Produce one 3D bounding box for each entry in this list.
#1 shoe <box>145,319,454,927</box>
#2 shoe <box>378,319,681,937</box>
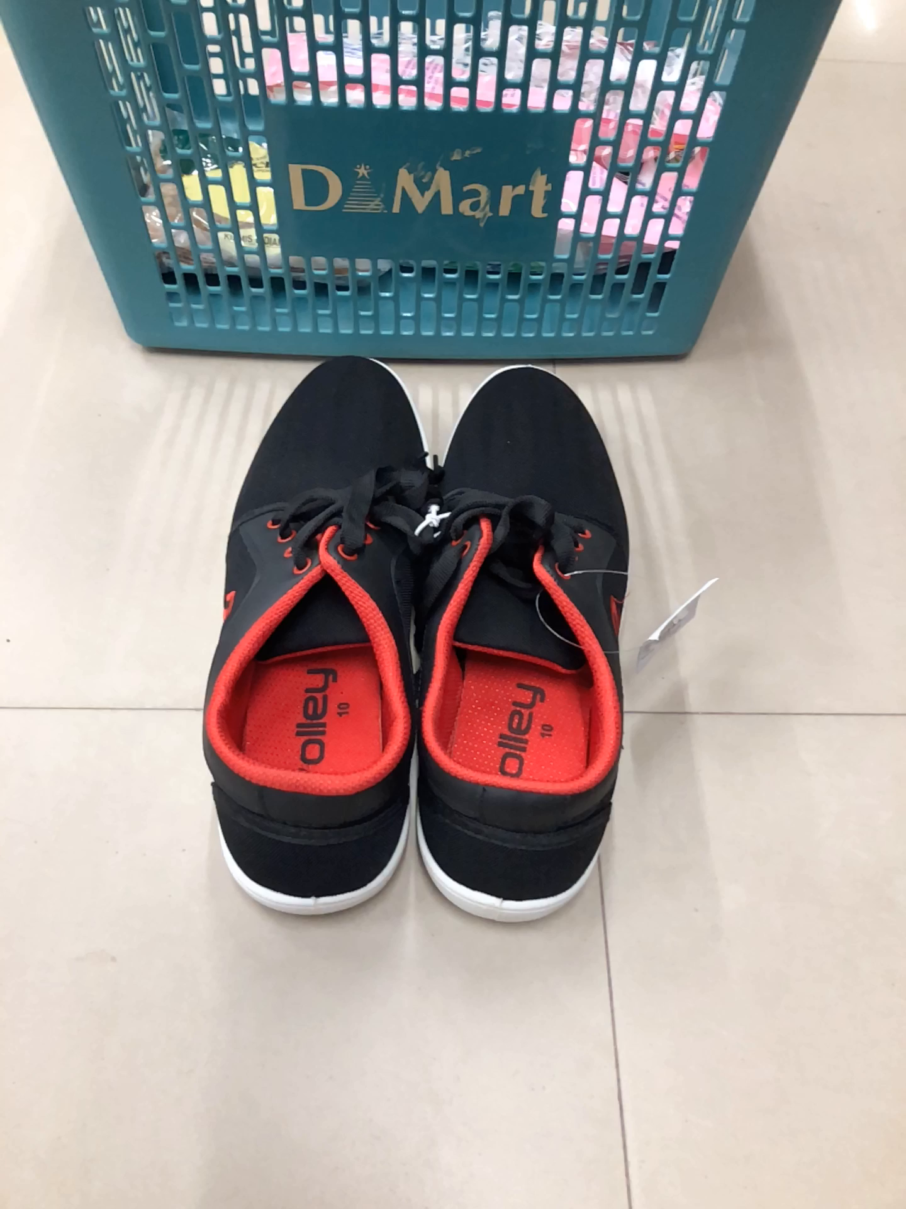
[{"bbox_3d":[-0.060,-0.001,0.457,0.105,0.103,0.261,-1,57,-4],"label":"shoe"},{"bbox_3d":[0.035,0.002,0.460,0.105,0.103,0.261,5,57,0],"label":"shoe"}]
